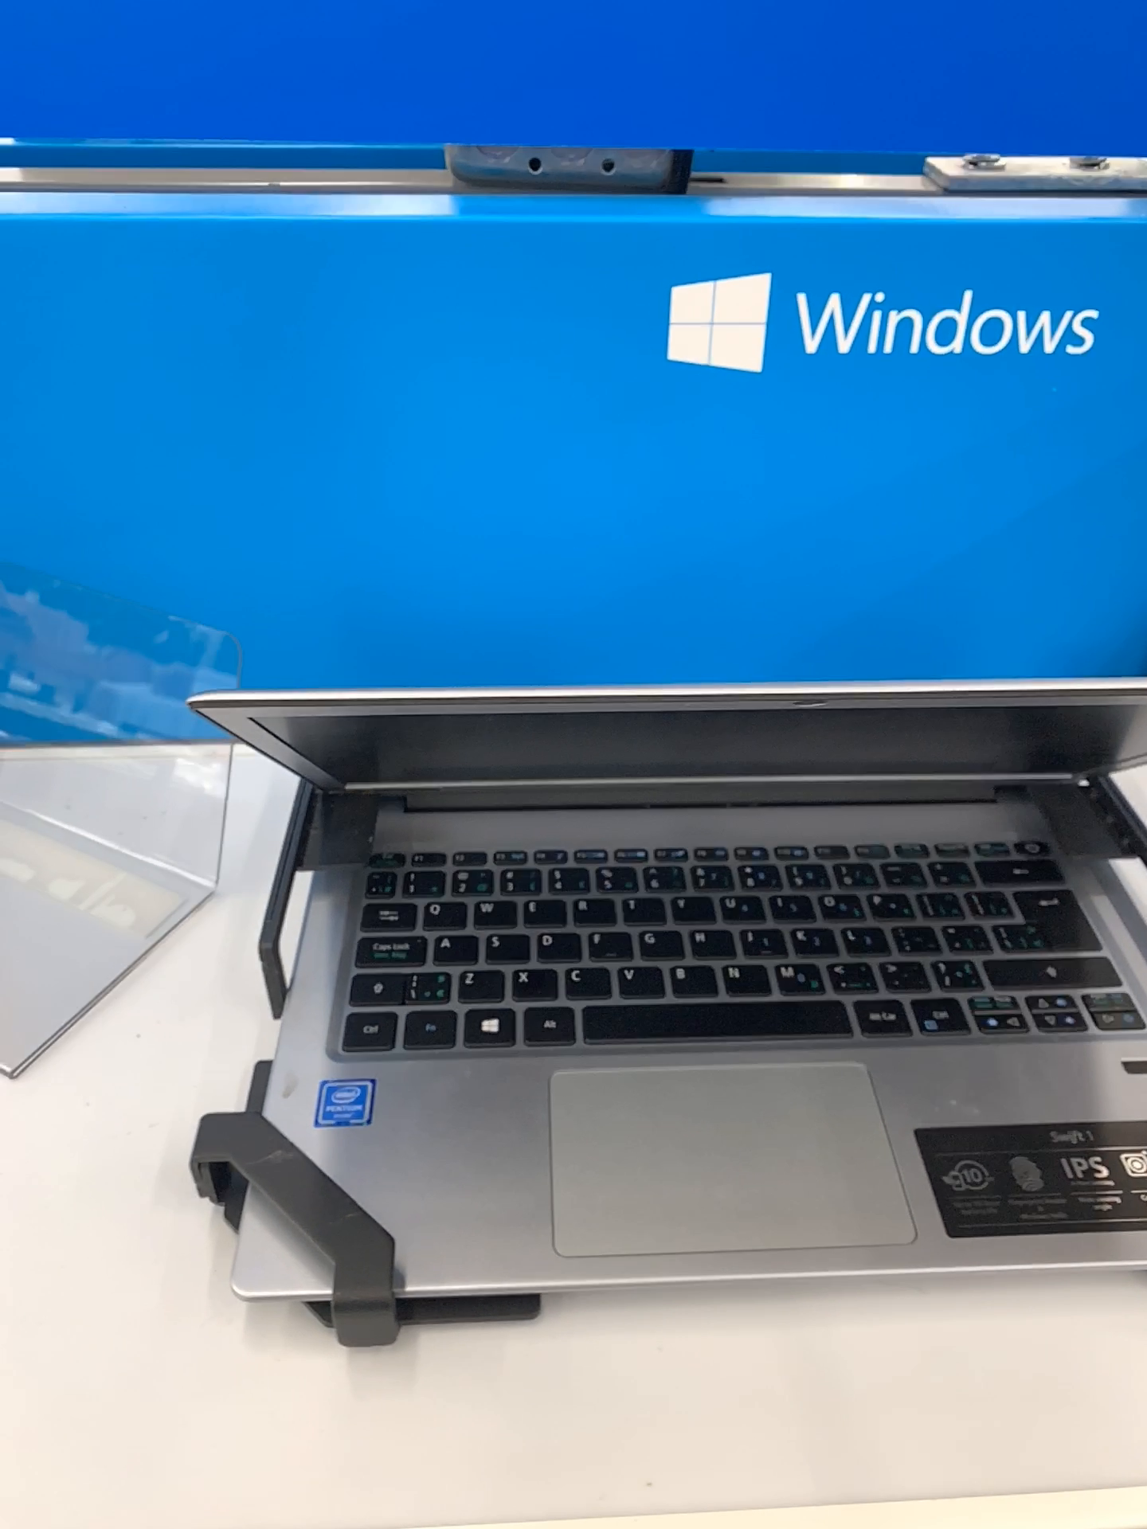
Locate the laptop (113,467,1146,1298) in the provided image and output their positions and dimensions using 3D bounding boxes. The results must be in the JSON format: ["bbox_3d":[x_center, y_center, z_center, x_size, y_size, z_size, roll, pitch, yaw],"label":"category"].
[{"bbox_3d":[0.057,0.018,0.365,0.305,0.141,0.214,-1,35,-3],"label":"laptop"}]
